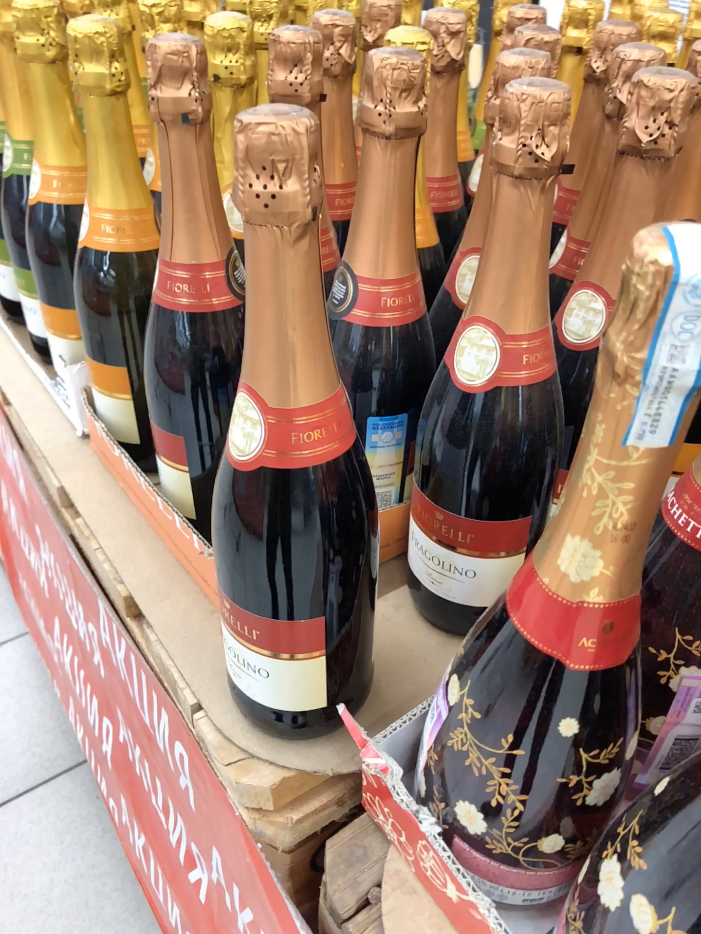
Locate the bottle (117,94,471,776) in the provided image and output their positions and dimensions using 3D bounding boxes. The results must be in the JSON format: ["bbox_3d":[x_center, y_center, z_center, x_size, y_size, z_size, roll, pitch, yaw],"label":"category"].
[{"bbox_3d":[-0.026,0.001,0.361,0.090,0.298,0.090,1,36,-1],"label":"bottle"}]
